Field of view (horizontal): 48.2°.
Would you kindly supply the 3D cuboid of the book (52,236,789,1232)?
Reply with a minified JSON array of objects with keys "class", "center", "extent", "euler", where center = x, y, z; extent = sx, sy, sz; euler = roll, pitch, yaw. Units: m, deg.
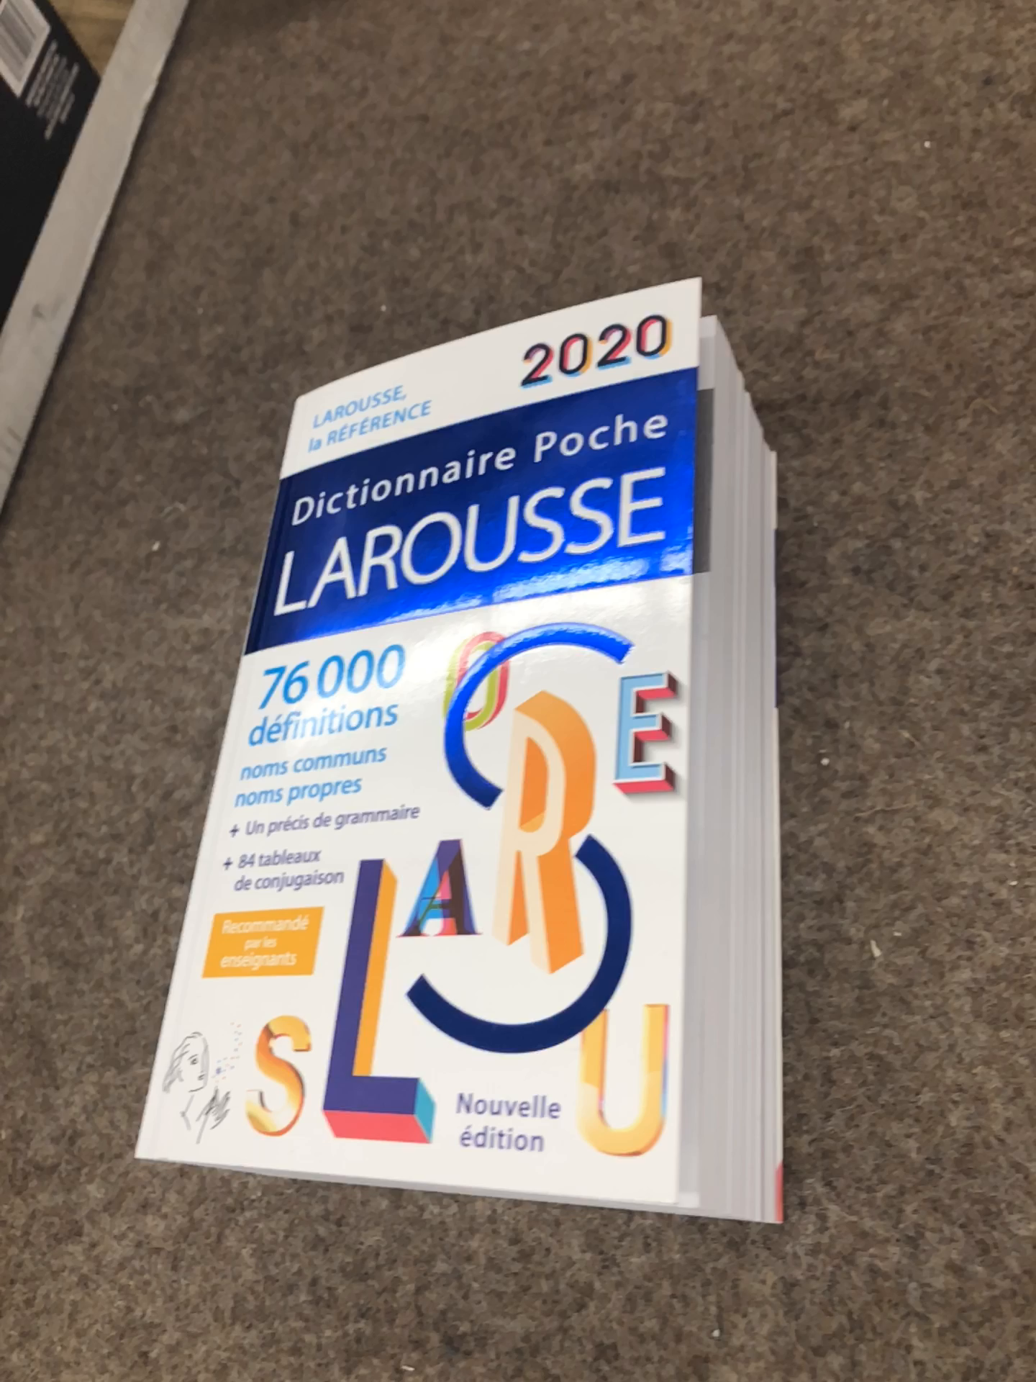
[{"class":"book","center":[-0.009,0.007,0.245],"extent":[0.117,0.060,0.184],"euler":[-6,63,21]}]
